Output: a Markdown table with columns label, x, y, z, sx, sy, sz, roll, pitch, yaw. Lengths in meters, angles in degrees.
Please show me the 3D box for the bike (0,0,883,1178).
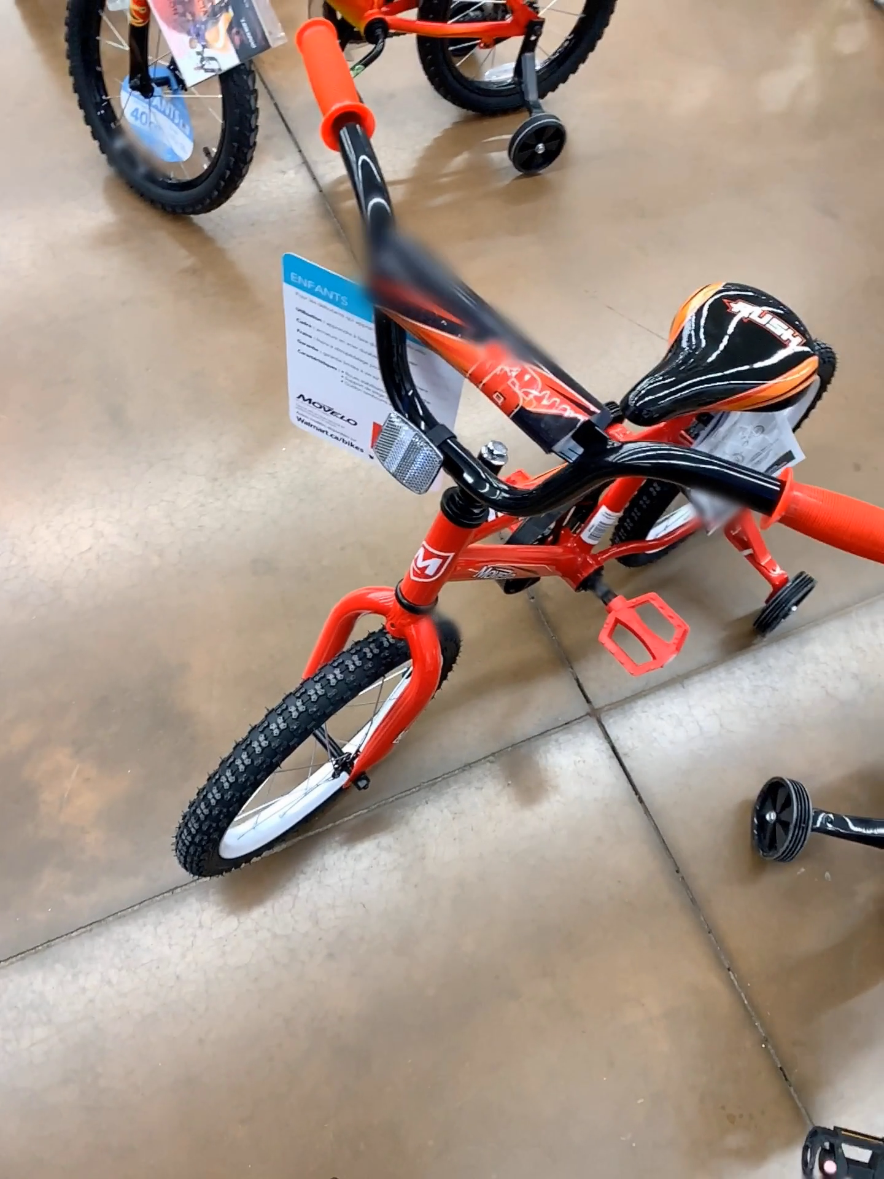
| label | x | y | z | sx | sy | sz | roll | pitch | yaw |
| --- | --- | --- | --- | --- | --- | --- | --- | --- | --- |
| bike | 0.174 | -0.082 | 0.965 | 1.071 | 0.851 | 0.585 | -35 | 72 | -24 |
